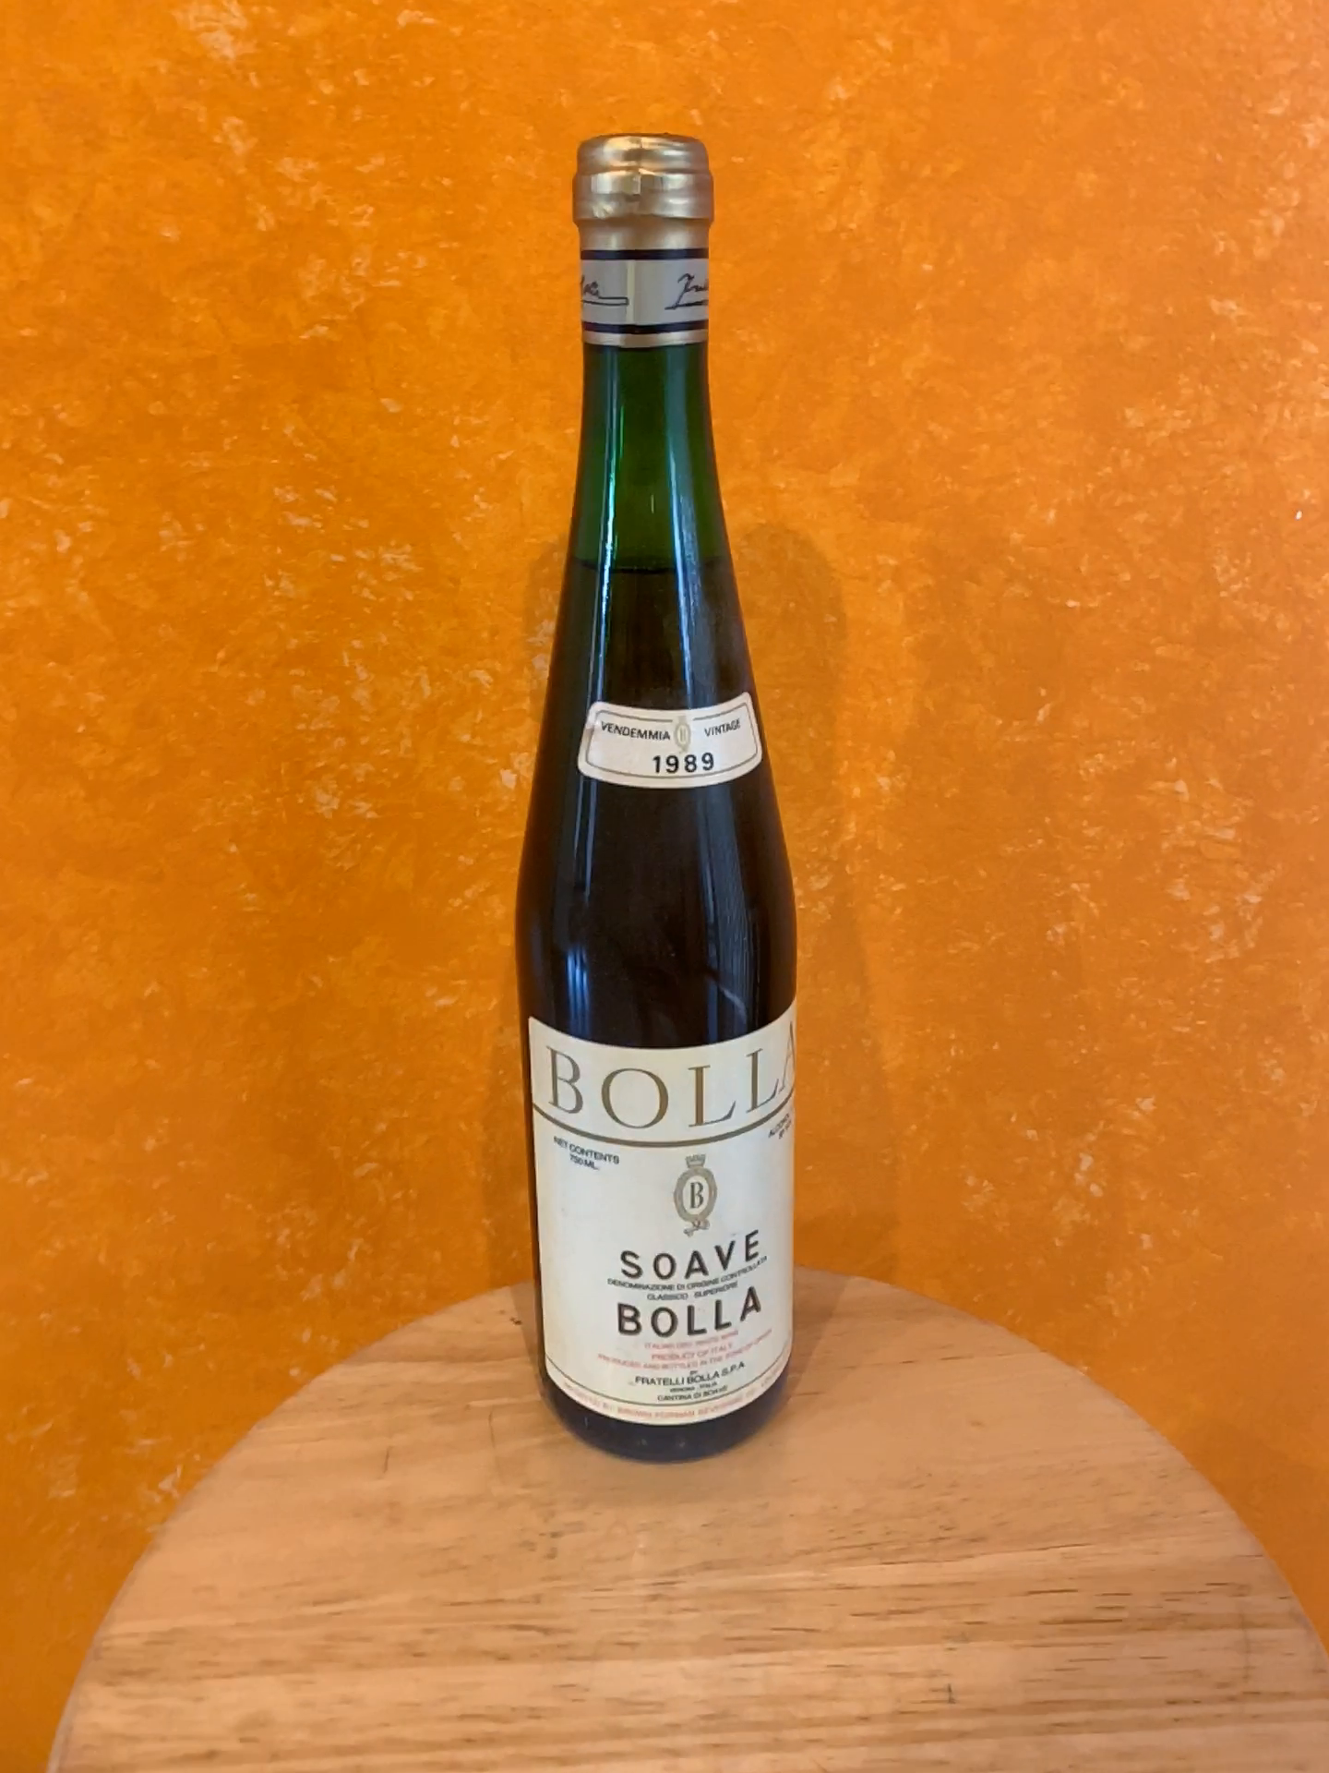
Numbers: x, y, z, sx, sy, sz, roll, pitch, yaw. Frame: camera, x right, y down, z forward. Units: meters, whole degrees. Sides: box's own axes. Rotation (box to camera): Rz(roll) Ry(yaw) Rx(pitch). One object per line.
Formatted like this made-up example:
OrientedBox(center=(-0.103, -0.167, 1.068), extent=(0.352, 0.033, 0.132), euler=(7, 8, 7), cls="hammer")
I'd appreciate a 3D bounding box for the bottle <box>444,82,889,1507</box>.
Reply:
OrientedBox(center=(-0.002, -0.004, 0.348), extent=(0.080, 0.338, 0.070), euler=(-5, 23, -11), cls="bottle")
